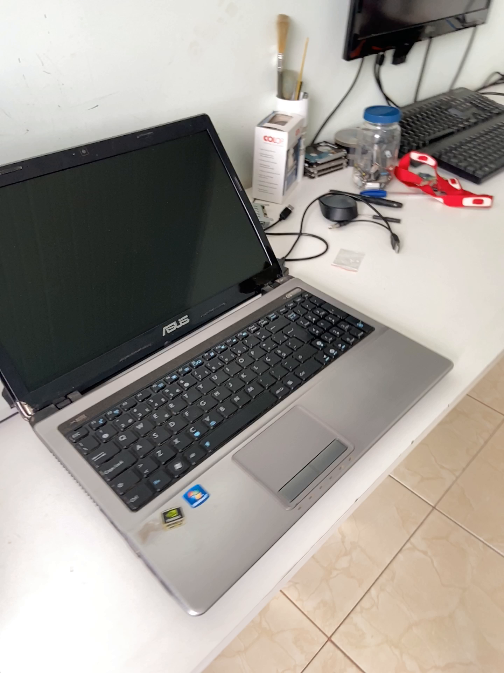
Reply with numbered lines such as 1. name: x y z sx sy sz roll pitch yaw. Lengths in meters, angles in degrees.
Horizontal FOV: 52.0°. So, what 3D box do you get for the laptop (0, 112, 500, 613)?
1. laptop: -0.057 -0.051 0.529 0.378 0.179 0.416 -32 50 -34
